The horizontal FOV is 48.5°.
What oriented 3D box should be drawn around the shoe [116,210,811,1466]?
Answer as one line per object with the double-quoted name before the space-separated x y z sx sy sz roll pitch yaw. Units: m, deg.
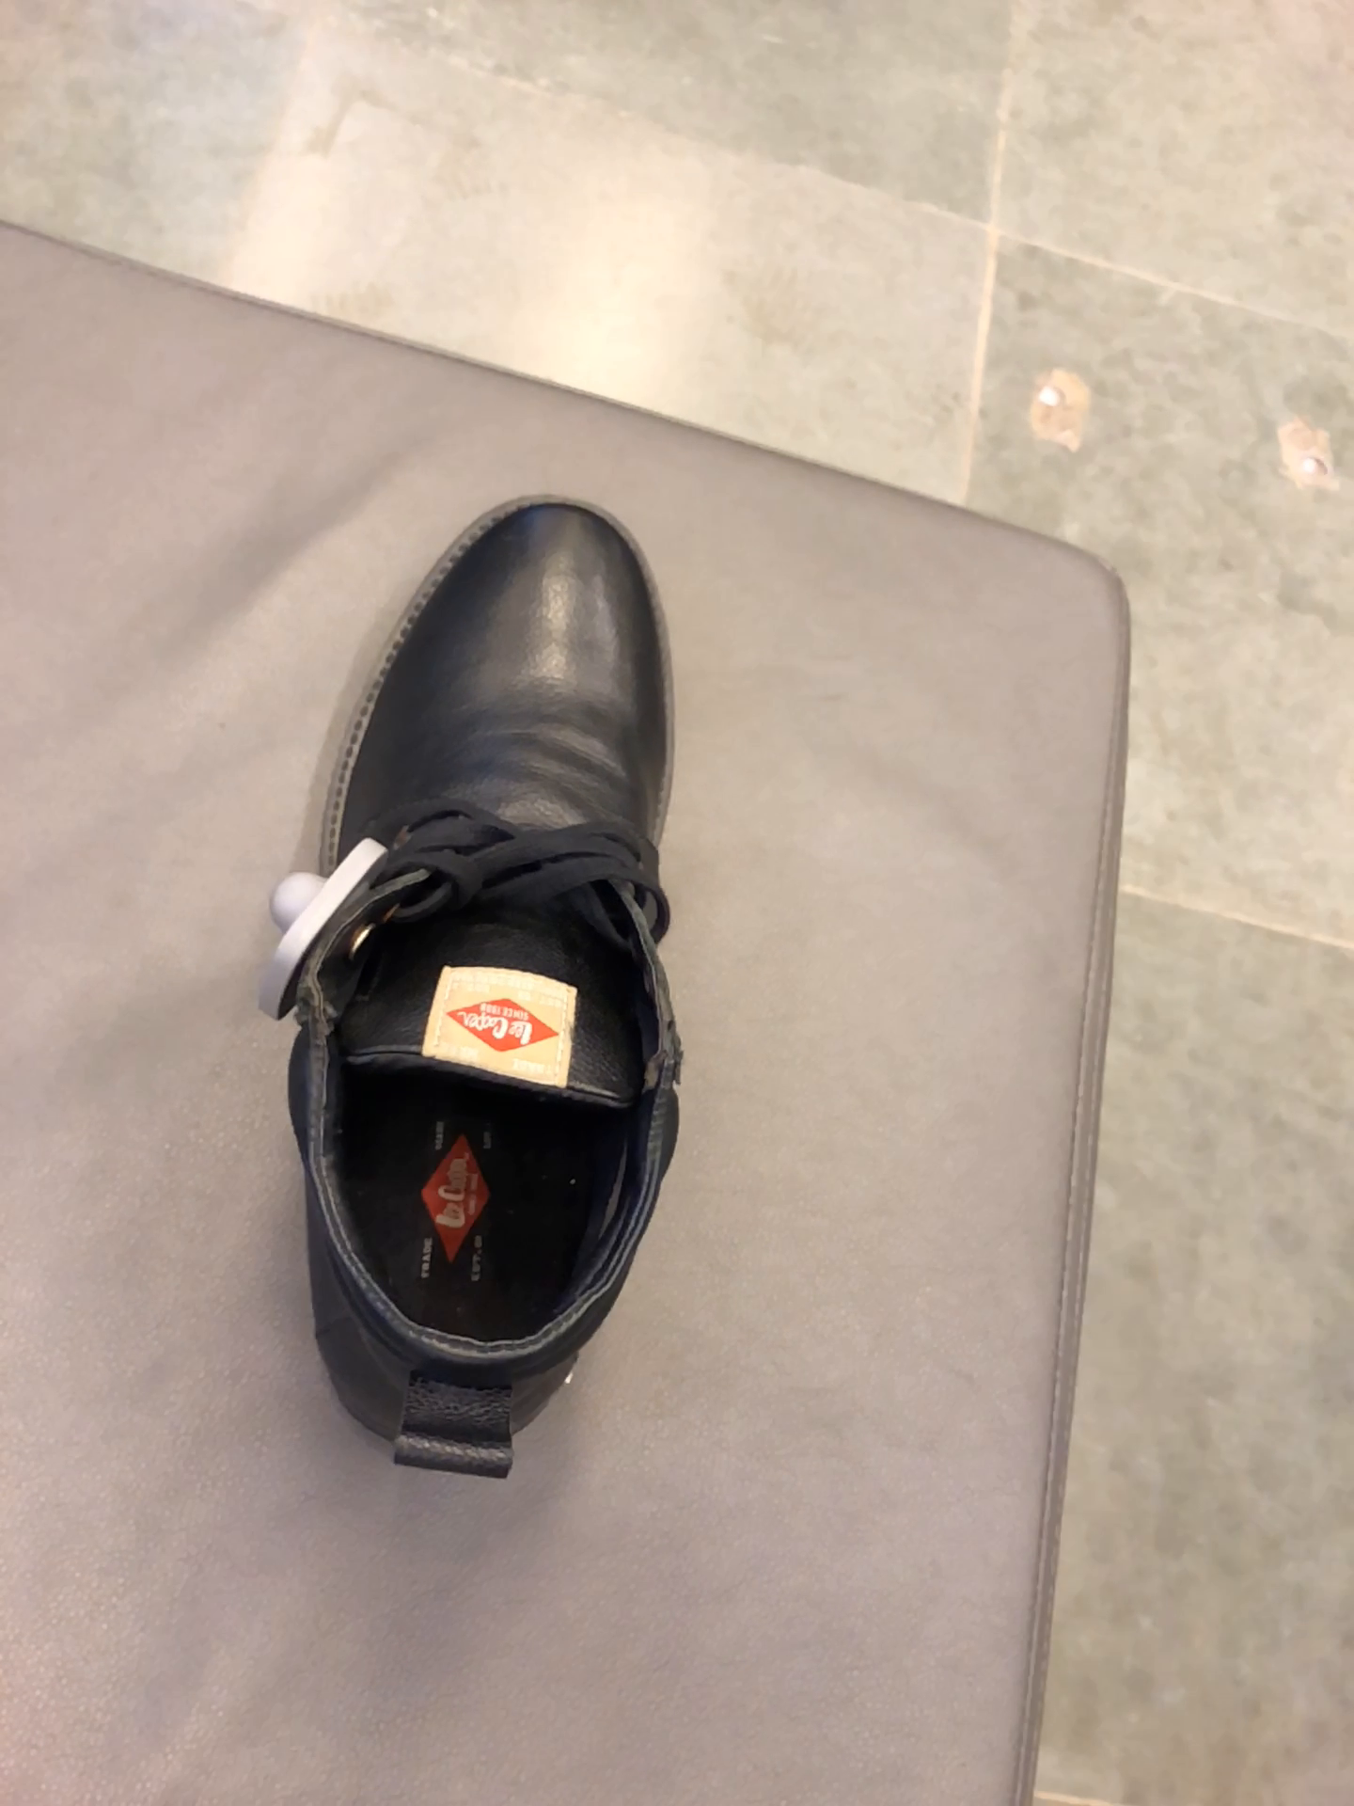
"shoe" -0.047 -0.009 0.400 0.111 0.149 0.285 10 67 -9
